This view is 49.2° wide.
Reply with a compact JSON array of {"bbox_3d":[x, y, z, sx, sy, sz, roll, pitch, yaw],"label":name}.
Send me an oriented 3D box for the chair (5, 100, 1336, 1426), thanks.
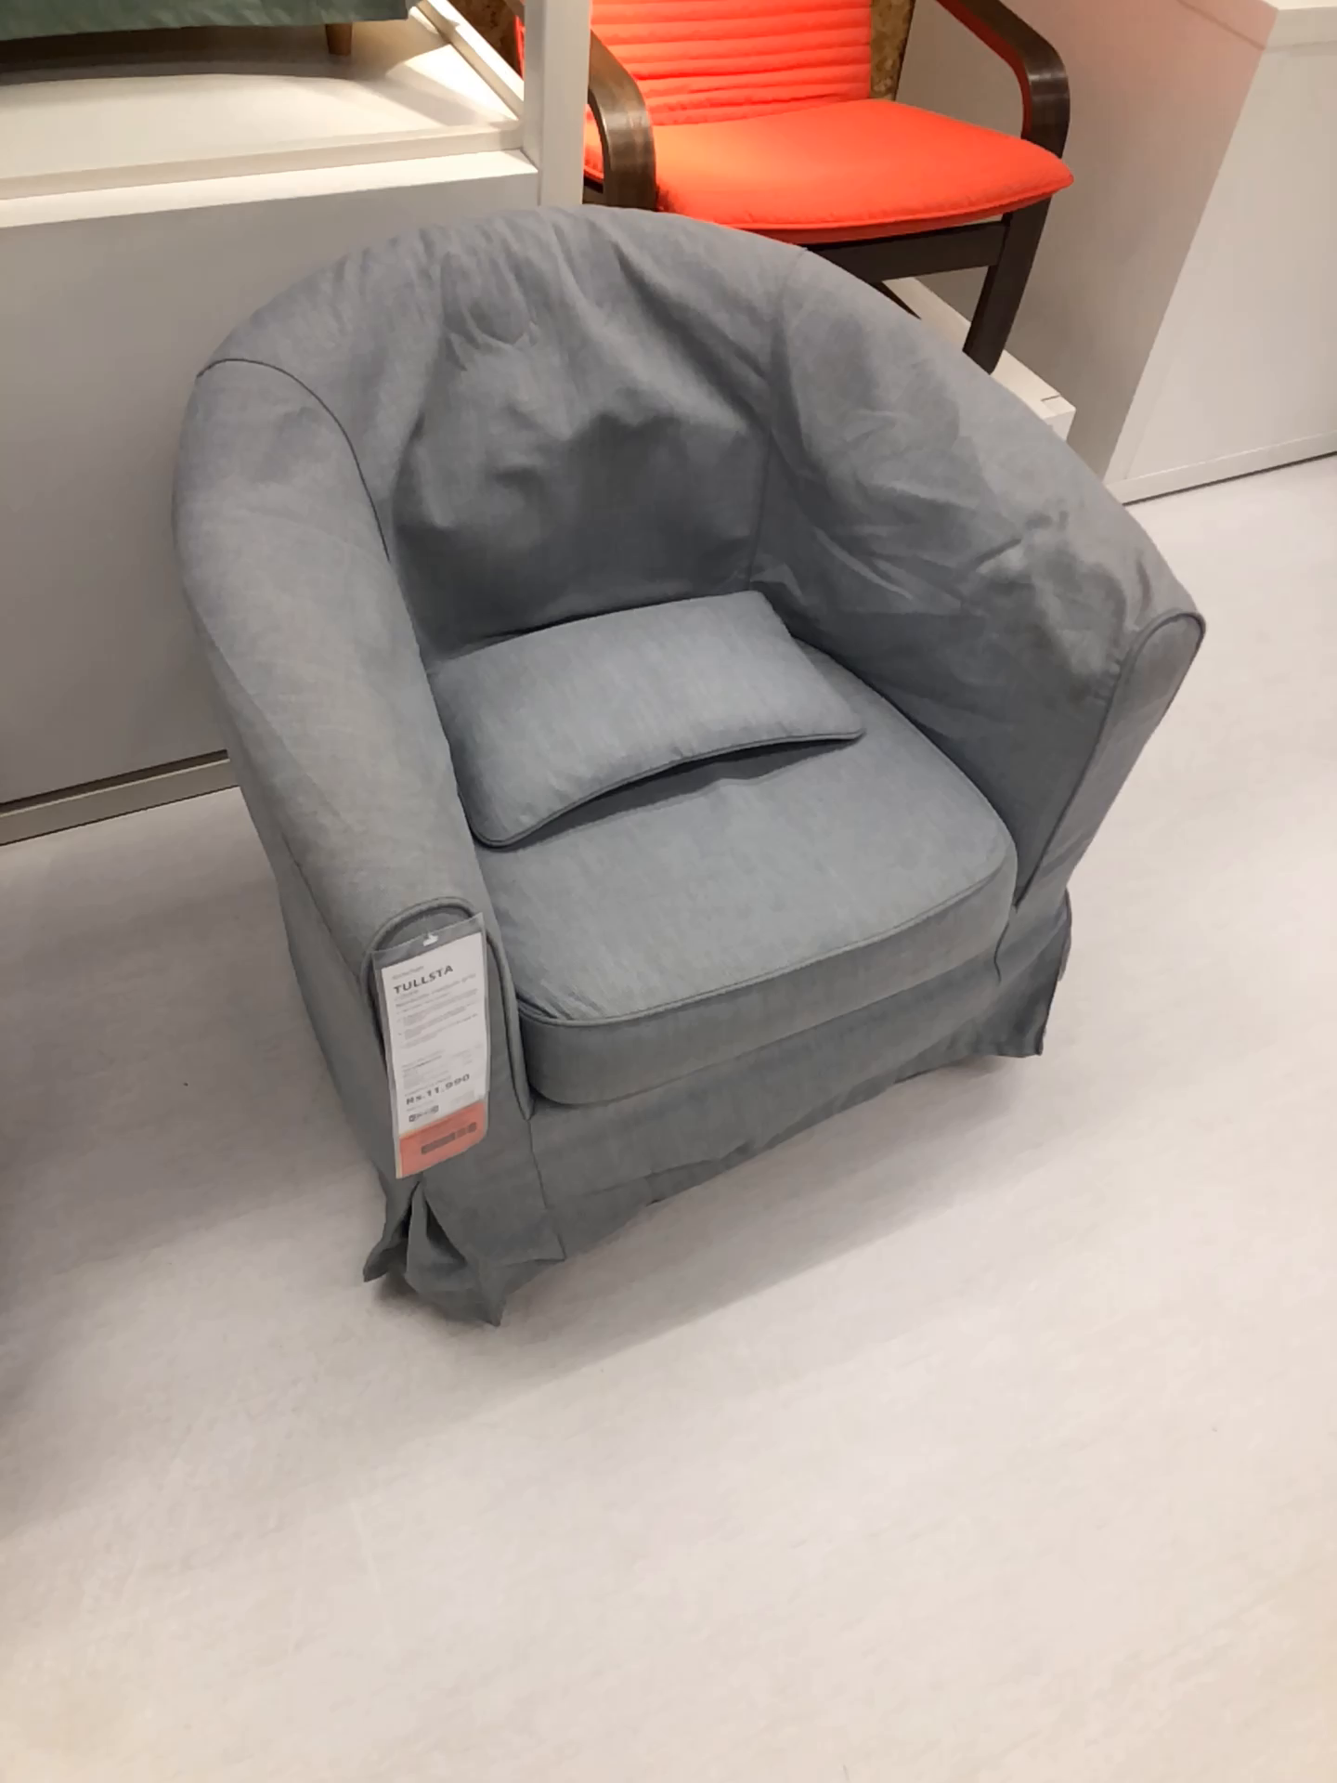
[{"bbox_3d":[-0.002,-0.156,1.419,0.872,0.795,0.723,-21,54,-23],"label":"chair"}]
